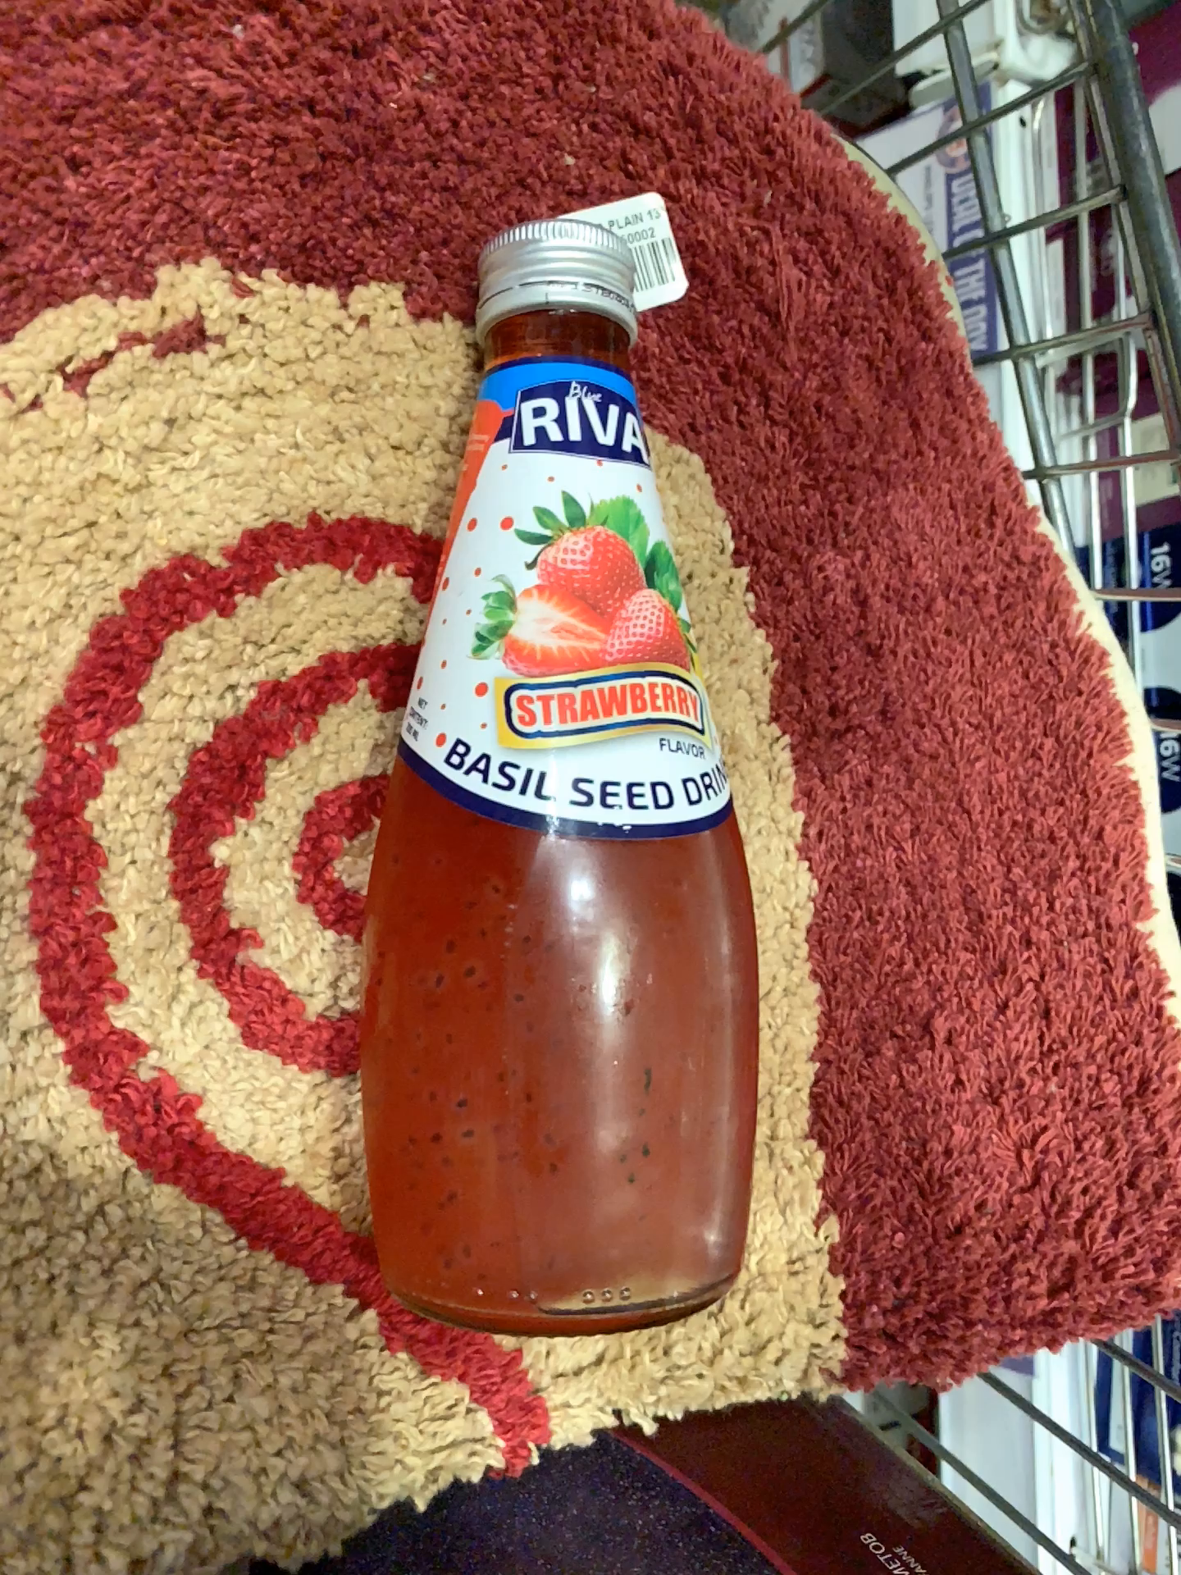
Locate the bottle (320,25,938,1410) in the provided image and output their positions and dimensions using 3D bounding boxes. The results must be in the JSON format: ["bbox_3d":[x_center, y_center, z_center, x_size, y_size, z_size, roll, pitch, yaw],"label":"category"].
[{"bbox_3d":[0.004,-0.009,0.179,0.070,0.050,0.160,3,83,-29],"label":"bottle"}]
